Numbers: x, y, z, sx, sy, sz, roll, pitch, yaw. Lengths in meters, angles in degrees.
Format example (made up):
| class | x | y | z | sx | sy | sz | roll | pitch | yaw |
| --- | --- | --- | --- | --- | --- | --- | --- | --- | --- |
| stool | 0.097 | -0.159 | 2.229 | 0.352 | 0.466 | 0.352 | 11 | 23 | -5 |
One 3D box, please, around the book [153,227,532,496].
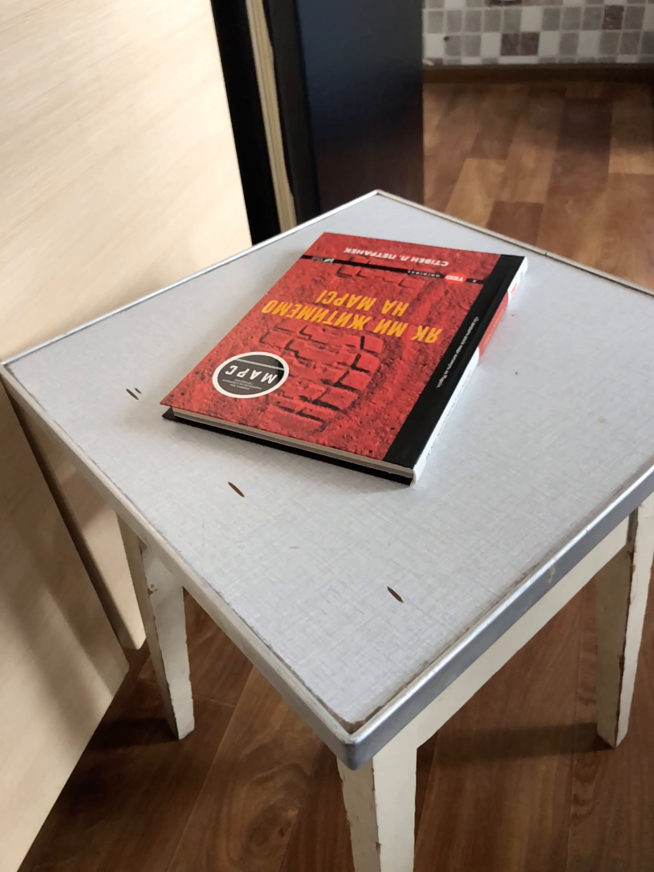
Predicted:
| class | x | y | z | sx | sy | sz | roll | pitch | yaw |
| --- | --- | --- | --- | --- | --- | --- | --- | --- | --- |
| book | 0.021 | -0.061 | 0.424 | 0.146 | 0.015 | 0.215 | 14 | 45 | 22 |
